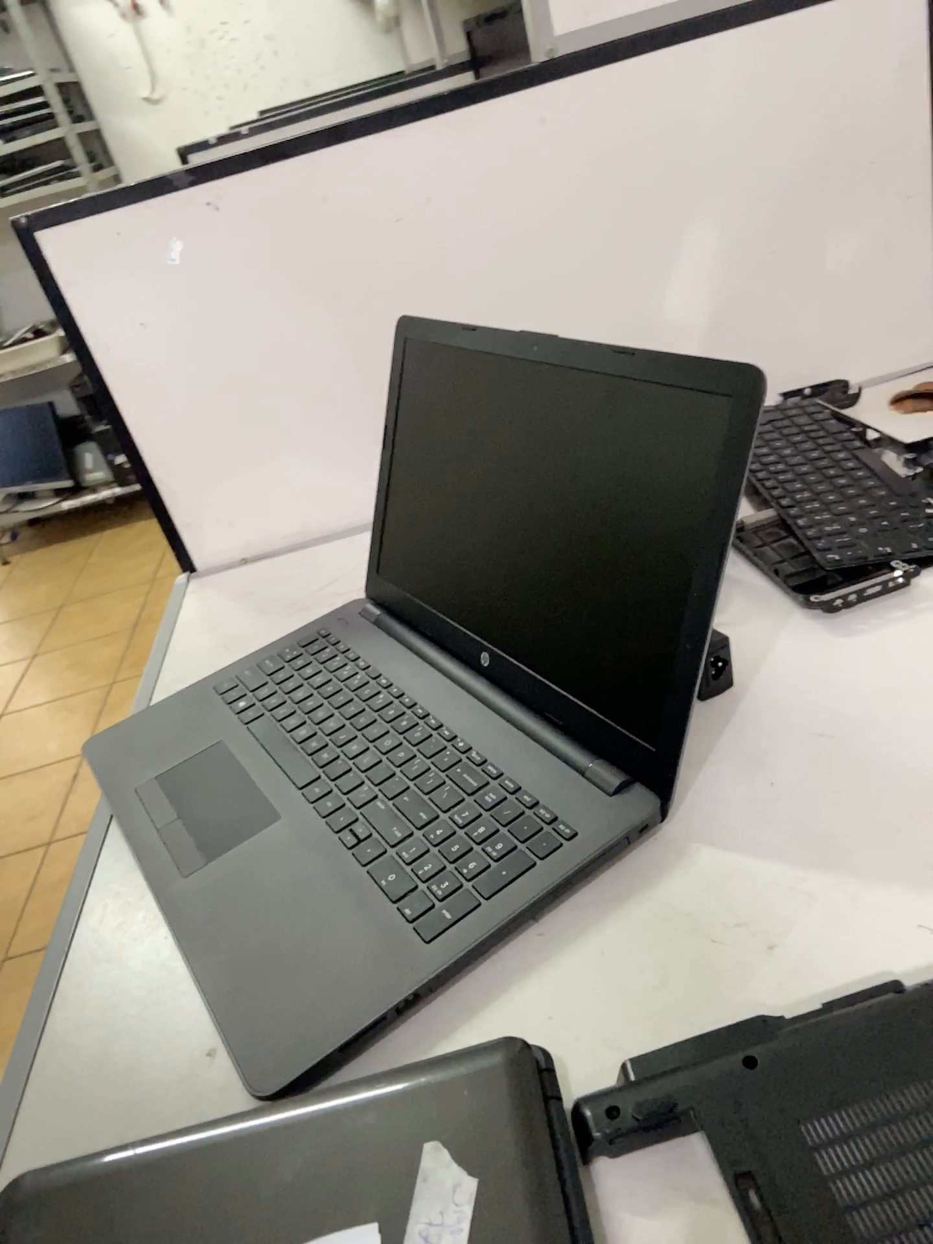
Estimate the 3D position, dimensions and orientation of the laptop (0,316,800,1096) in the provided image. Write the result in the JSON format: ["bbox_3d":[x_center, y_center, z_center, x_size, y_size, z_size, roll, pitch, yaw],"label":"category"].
[{"bbox_3d":[-0.075,-0.014,0.605,0.365,0.206,0.382,-30,33,-21],"label":"laptop"}]
